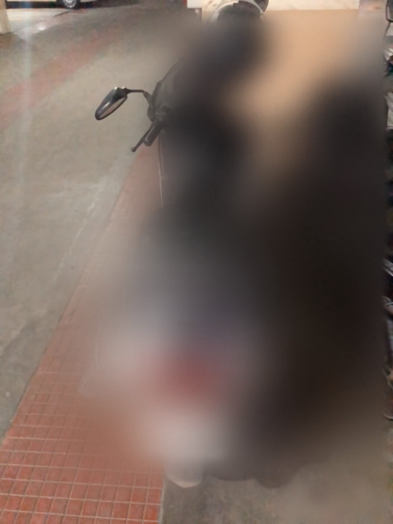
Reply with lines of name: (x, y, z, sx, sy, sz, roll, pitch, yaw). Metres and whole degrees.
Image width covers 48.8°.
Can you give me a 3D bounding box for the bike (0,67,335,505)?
bike: (-0.103, -0.096, 1.647, 0.594, 0.988, 1.502, -2, 33, -1)
